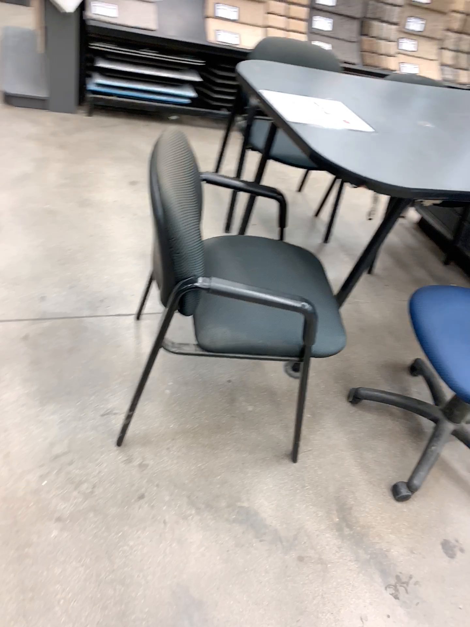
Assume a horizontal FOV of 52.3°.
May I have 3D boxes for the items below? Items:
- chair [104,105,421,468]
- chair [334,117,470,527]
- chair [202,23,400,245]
[{"bbox_3d":[-0.011,-0.051,1.369,0.585,0.749,0.607,8,41,-11],"label":"chair"},{"bbox_3d":[0.855,0.075,1.399,0.715,0.917,0.646,8,41,-11],"label":"chair"},{"bbox_3d":[0.250,-0.860,2.367,0.637,0.777,0.585,4,42,-15],"label":"chair"}]
